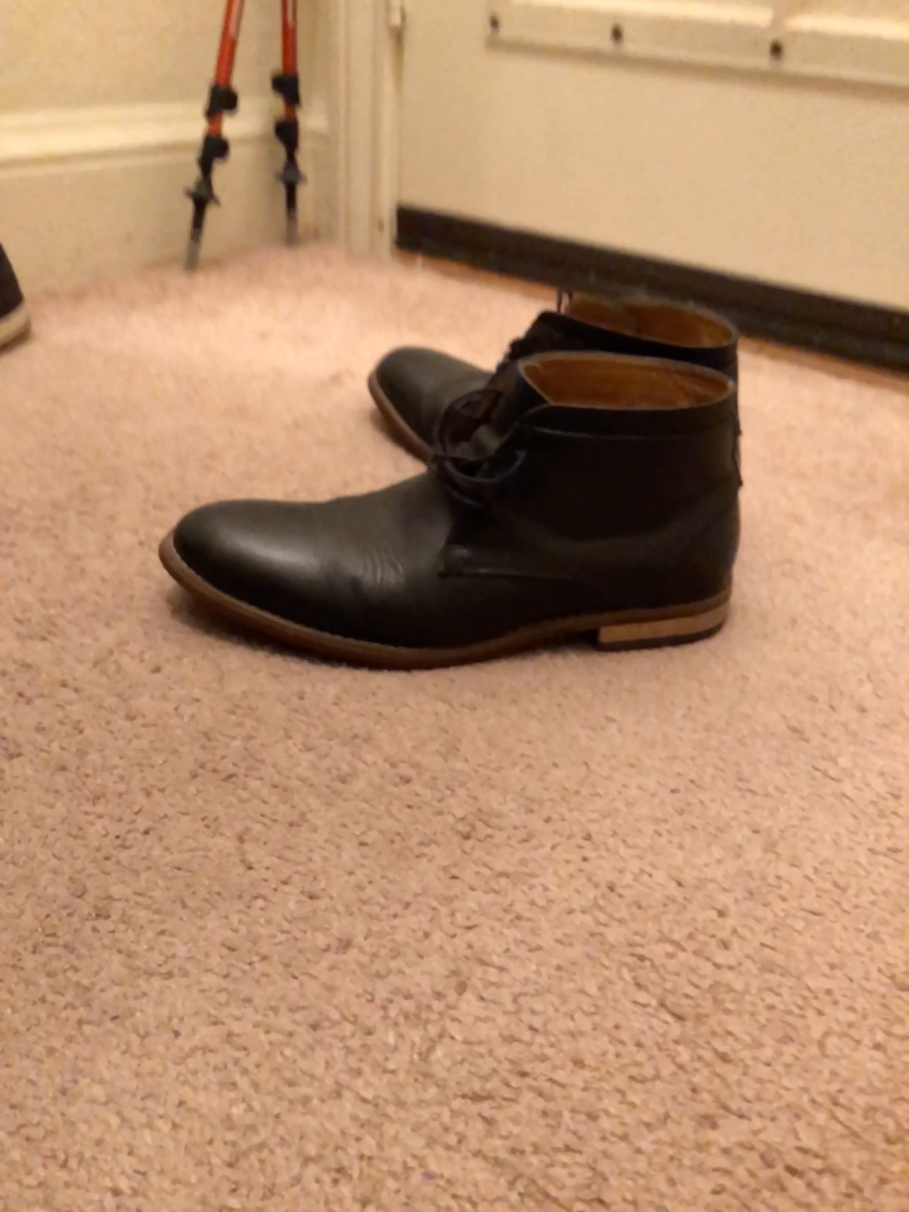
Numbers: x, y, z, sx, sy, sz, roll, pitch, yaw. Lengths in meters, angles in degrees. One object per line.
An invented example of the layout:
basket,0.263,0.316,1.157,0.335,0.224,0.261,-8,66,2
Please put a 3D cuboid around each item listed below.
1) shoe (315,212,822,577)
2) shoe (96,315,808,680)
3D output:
shoe,0.058,-0.154,0.665,0.303,0.135,0.117,26,38,30
shoe,-0.005,-0.060,0.507,0.302,0.135,0.117,-2,33,-9
